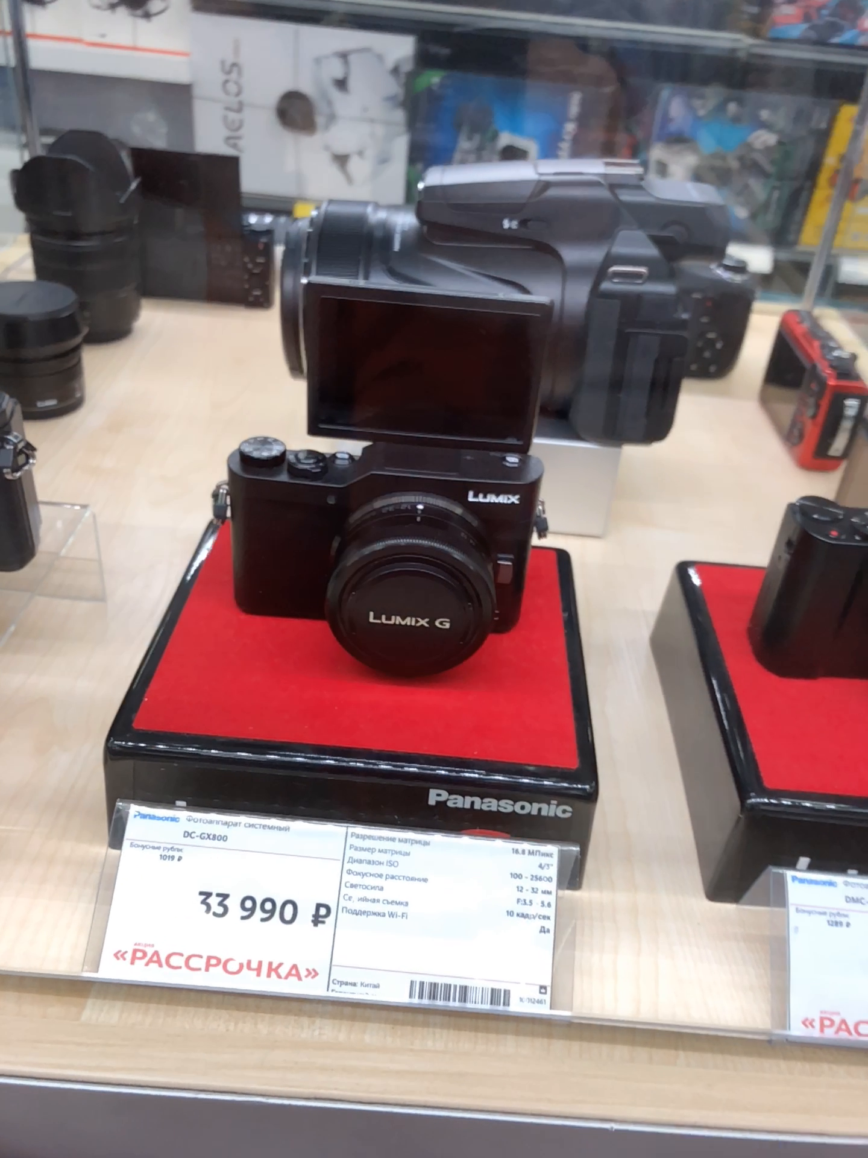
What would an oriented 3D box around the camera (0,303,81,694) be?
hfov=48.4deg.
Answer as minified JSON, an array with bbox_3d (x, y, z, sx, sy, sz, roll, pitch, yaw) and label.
[{"bbox_3d":[-0.195,-0.031,0.324,0.108,0.080,0.103,5,34,0],"label":"camera"}]

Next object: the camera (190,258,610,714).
[{"bbox_3d":[-0.013,-0.028,0.310,0.108,0.120,0.070,3,34,-3],"label":"camera"}]
